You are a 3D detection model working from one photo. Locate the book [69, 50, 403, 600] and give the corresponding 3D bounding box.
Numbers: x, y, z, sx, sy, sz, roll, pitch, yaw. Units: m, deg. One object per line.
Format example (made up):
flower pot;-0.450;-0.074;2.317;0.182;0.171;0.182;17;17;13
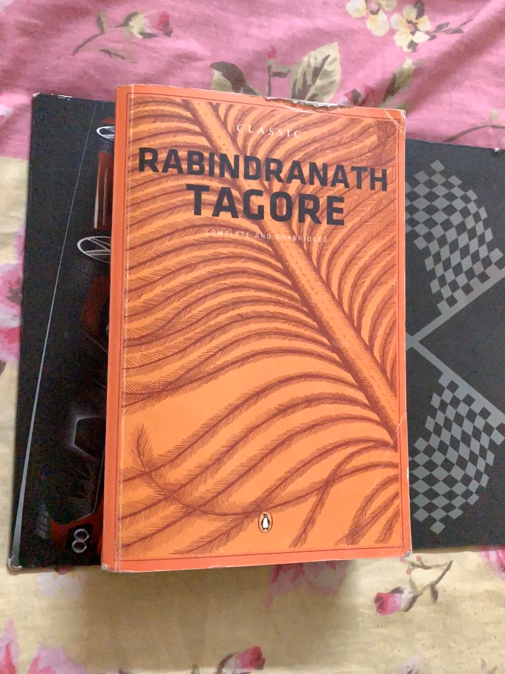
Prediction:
book;-0.005;-0.004;0.241;0.130;0.060;0.210;3;84;-12
